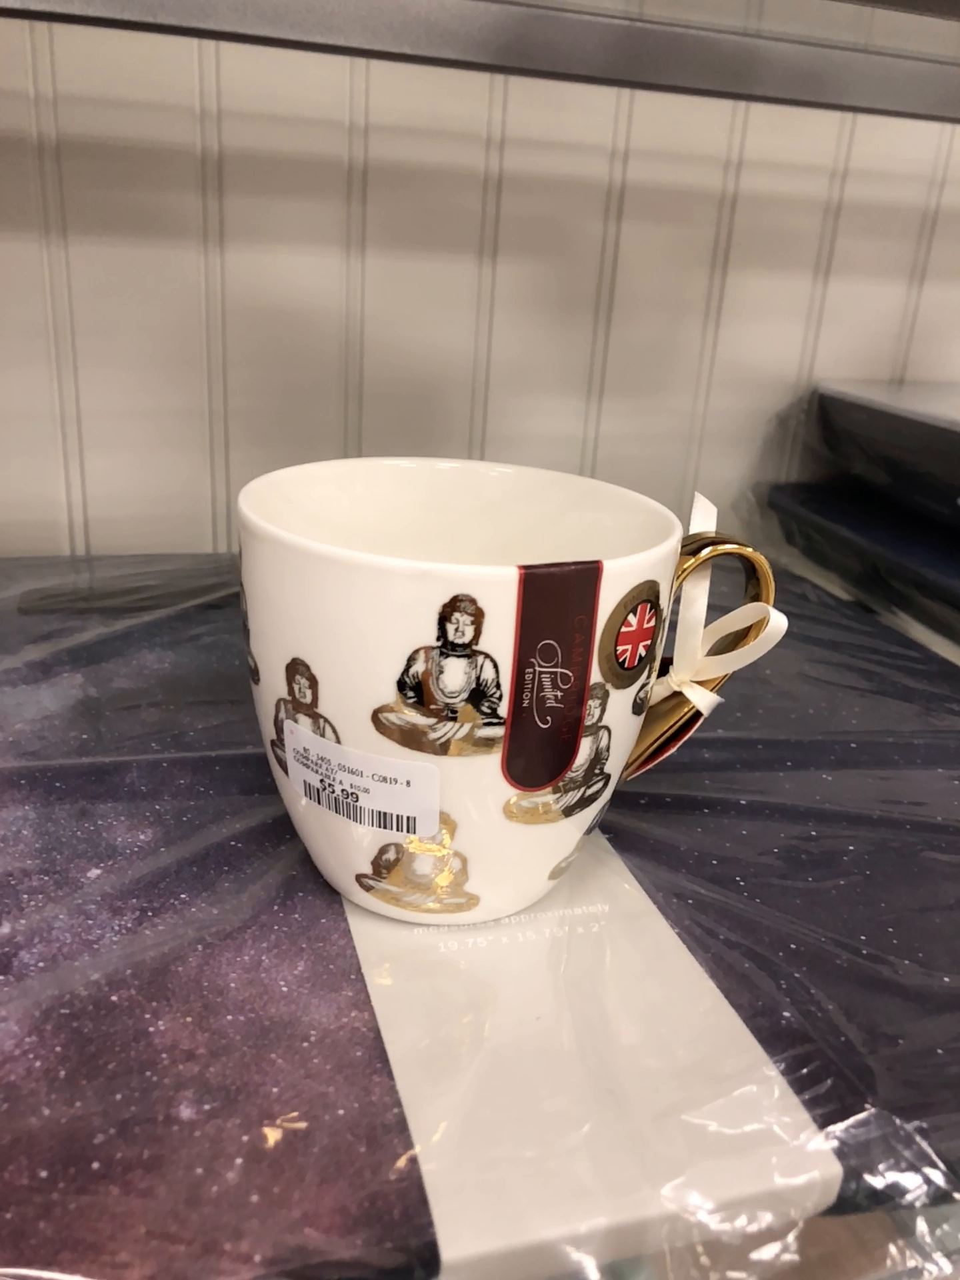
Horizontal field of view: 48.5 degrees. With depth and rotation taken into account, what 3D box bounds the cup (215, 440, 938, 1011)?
[{"bbox_3d":[0.013,0.007,0.262,0.137,0.089,0.101,-5,23,-22],"label":"cup"}]
